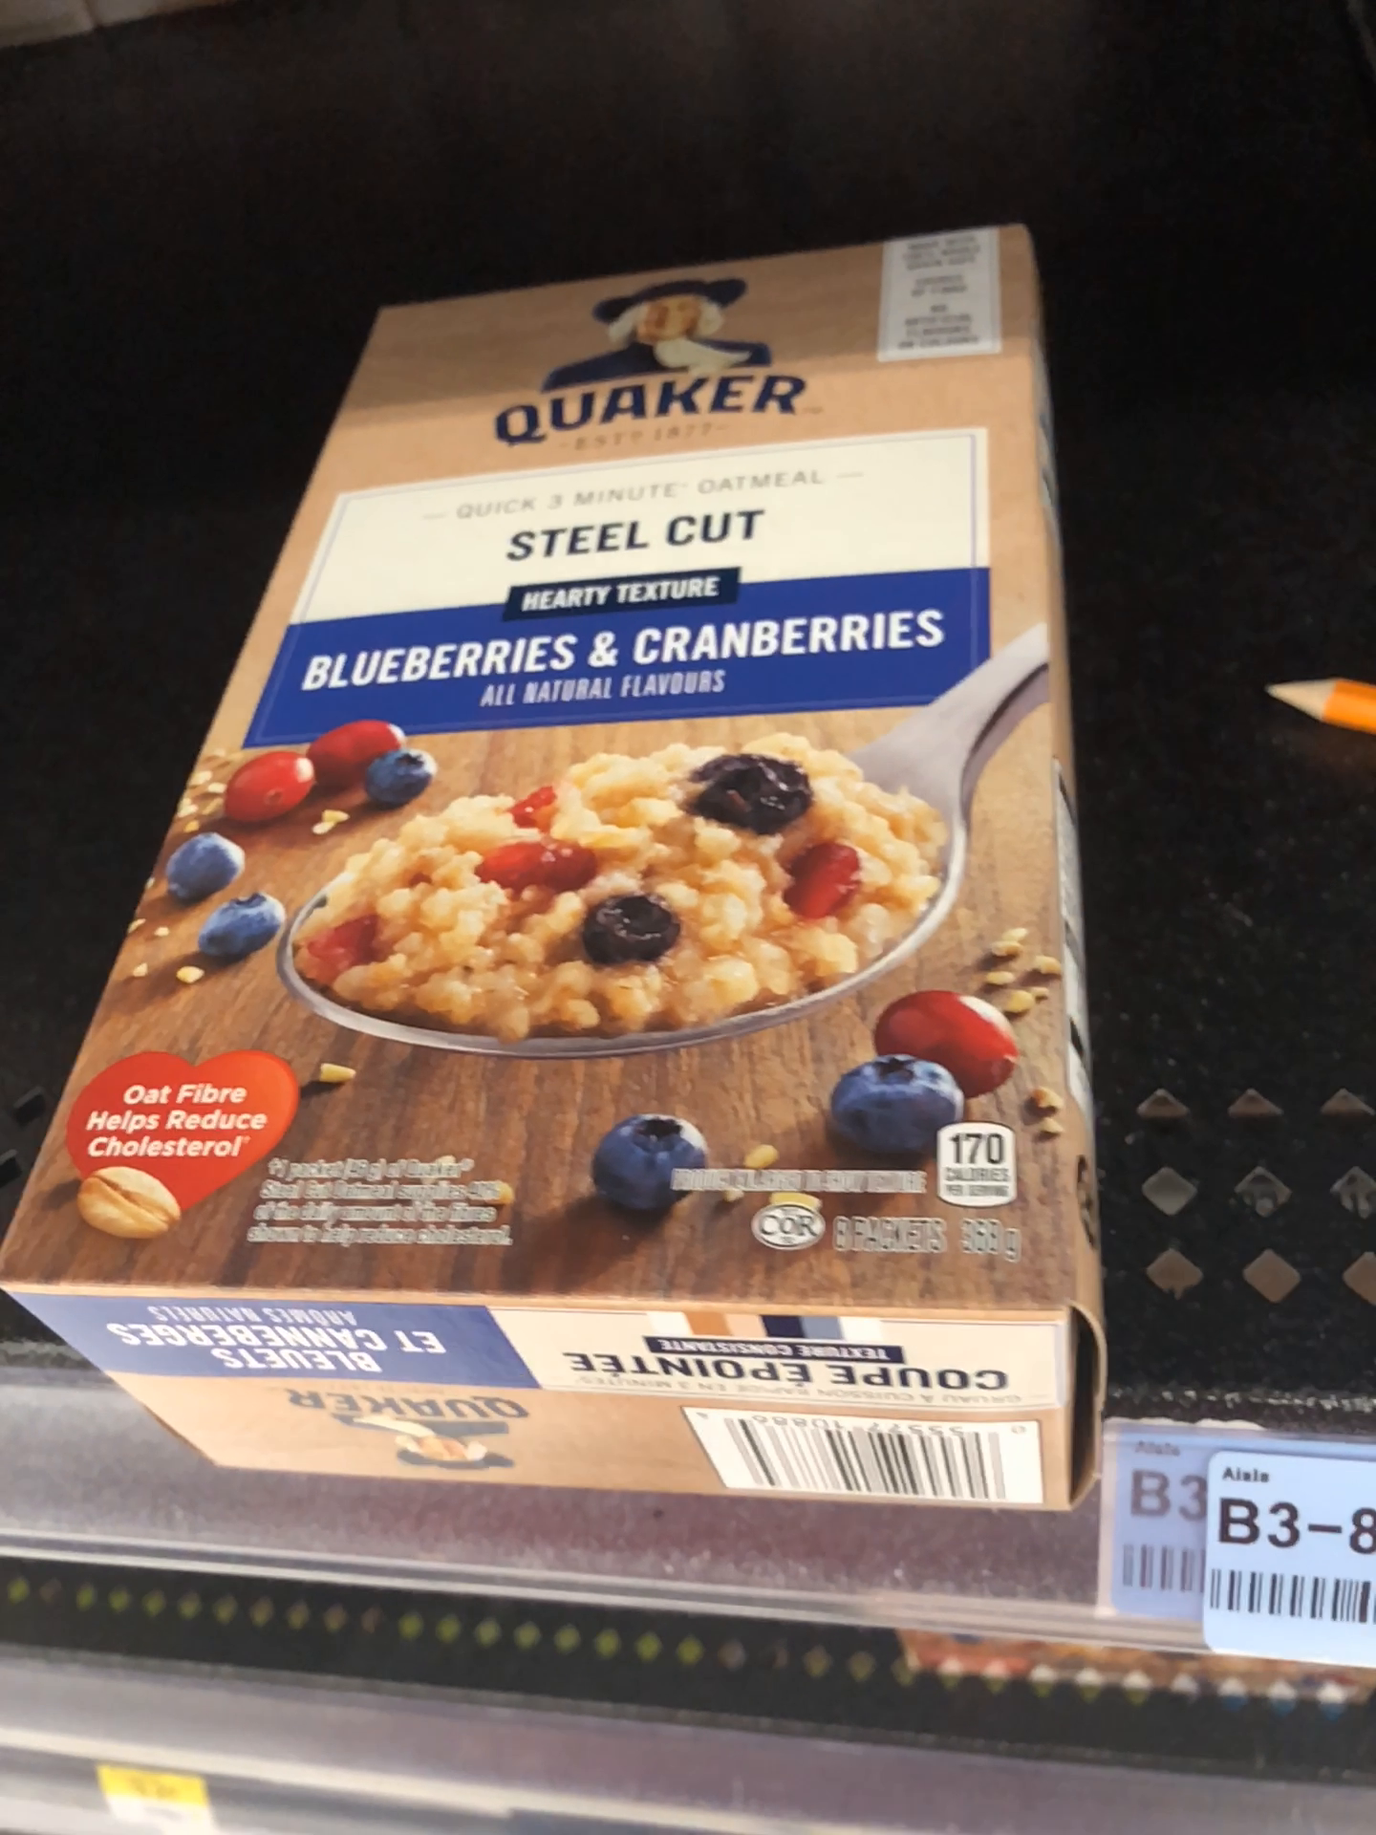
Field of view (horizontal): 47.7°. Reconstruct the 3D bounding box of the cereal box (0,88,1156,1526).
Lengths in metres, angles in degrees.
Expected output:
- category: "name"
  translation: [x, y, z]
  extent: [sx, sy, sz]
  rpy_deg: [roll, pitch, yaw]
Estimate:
- category: "cereal box"
  translation: [0.000, -0.037, 0.254]
  extent: [0.130, 0.060, 0.241]
  rpy_deg: [-2, 52, 13]
